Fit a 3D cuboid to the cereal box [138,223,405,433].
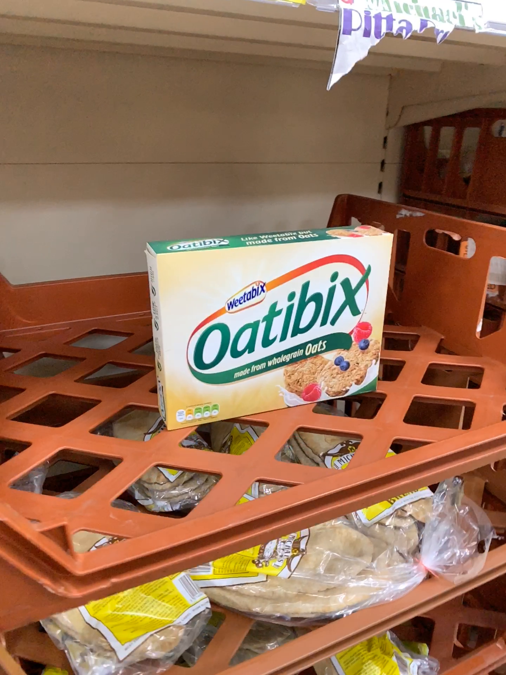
[{"bbox_3d":[0.021,-0.019,0.552,0.260,0.179,0.070,-8,23,-20],"label":"cereal box"}]
